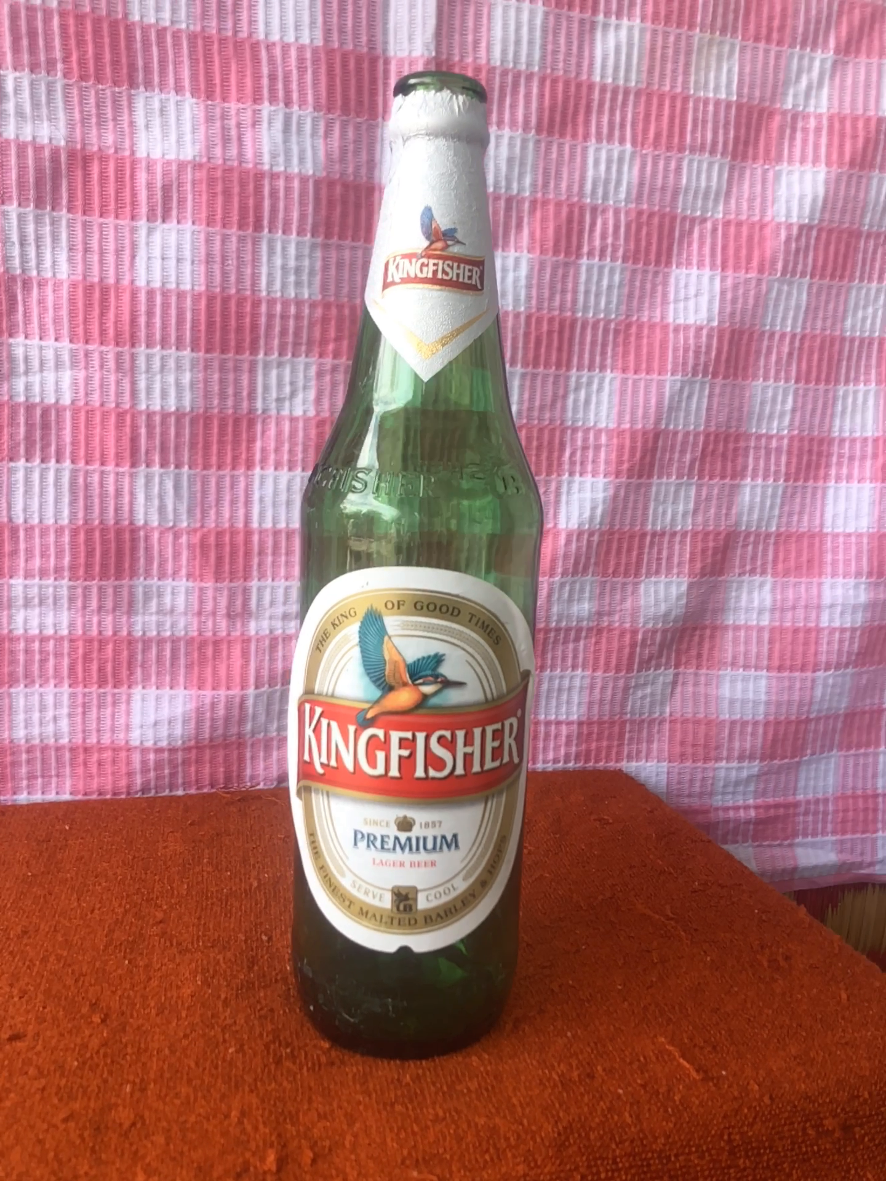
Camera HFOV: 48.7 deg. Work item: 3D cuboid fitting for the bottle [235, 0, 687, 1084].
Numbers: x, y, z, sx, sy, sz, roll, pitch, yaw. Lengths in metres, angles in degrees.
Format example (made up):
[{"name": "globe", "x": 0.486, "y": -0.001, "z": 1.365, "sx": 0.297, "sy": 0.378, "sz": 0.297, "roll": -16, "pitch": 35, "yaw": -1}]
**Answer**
[{"name": "bottle", "x": -0.001, "y": -0.010, "z": 0.296, "sx": 0.090, "sy": 0.289, "sz": 0.080, "roll": 6, "pitch": 12, "yaw": 1}]
